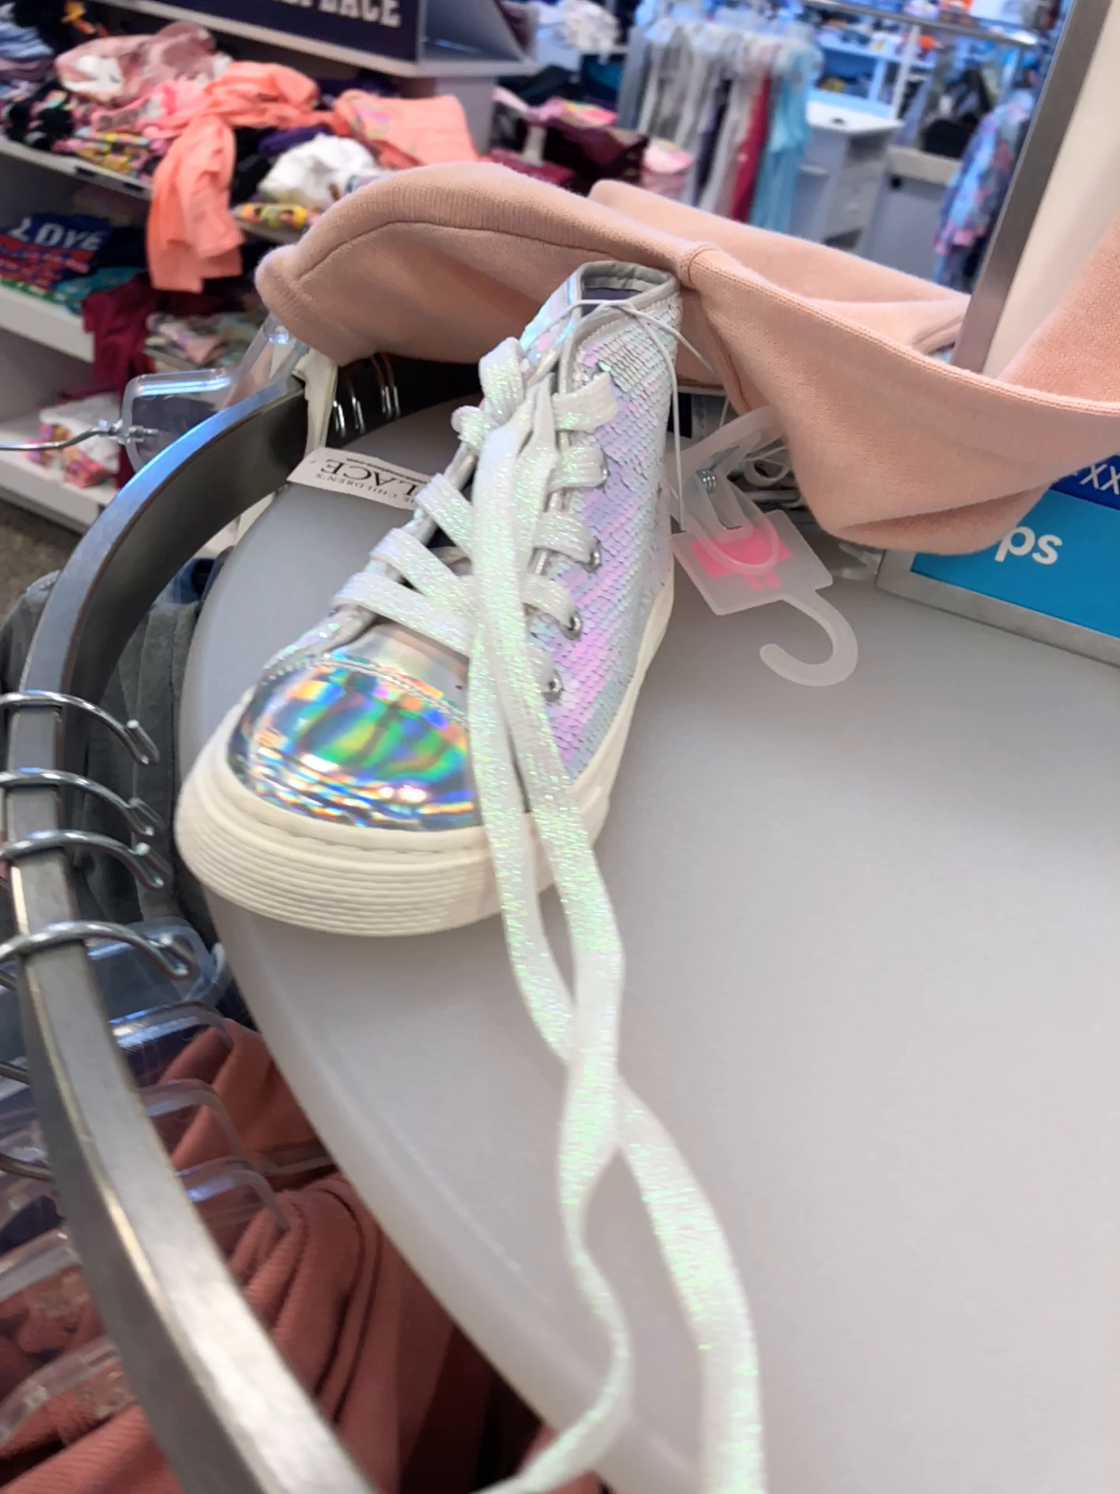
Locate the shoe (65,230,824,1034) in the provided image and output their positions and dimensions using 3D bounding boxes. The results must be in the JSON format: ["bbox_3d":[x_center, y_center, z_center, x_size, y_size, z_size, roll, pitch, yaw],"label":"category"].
[{"bbox_3d":[-0.011,-0.051,0.313,0.090,0.105,0.212,19,34,13],"label":"shoe"}]
